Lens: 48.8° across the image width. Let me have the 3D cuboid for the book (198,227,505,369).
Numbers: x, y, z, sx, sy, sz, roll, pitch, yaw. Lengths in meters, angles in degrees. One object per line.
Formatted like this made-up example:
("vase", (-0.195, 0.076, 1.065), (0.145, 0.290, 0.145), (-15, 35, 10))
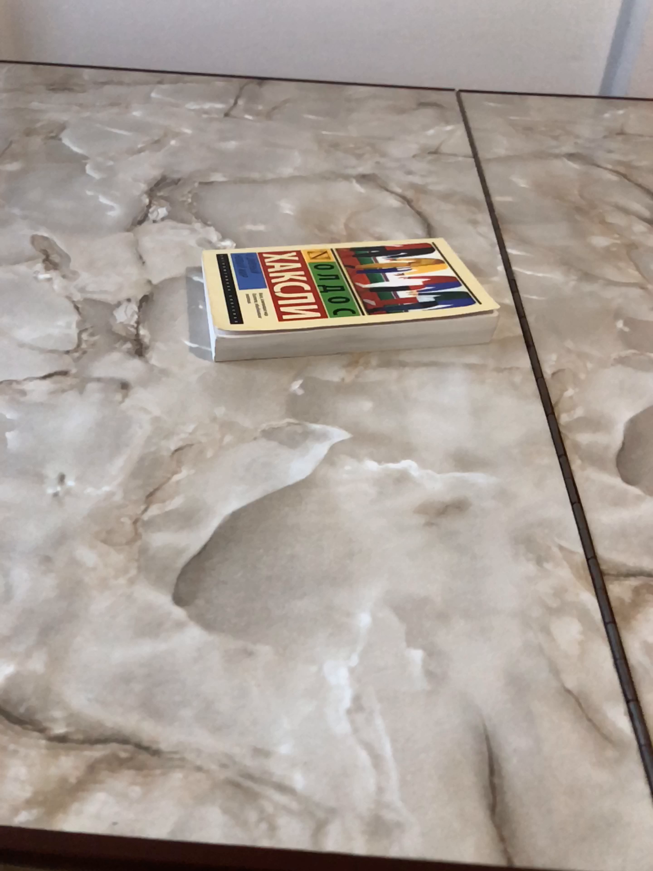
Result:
("book", (0.009, -0.098, 0.486), (0.183, 0.028, 0.121), (-5, 41, -9))
